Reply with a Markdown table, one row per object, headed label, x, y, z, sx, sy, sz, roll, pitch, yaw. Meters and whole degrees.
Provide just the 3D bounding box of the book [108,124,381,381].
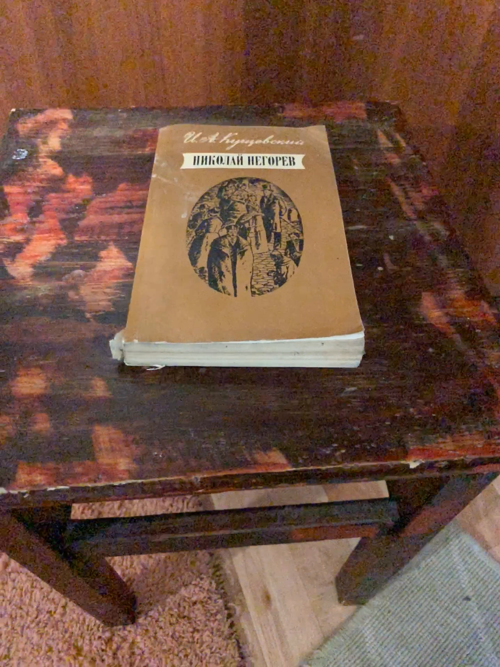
| label | x | y | z | sx | sy | sz | roll | pitch | yaw |
| --- | --- | --- | --- | --- | --- | --- | --- | --- | --- |
| book | -0.004 | -0.061 | 0.313 | 0.130 | 0.024 | 0.191 | -1 | 53 | 0 |
